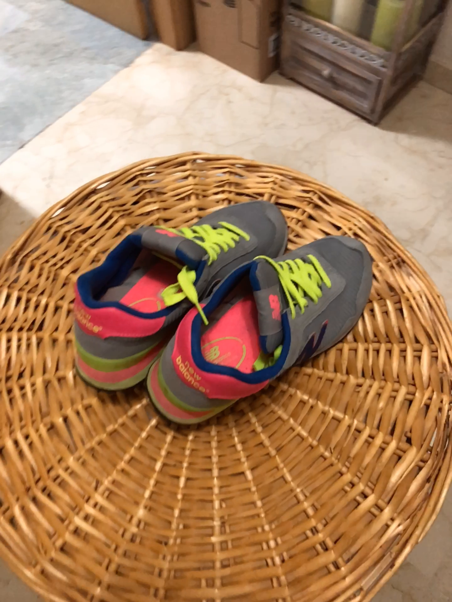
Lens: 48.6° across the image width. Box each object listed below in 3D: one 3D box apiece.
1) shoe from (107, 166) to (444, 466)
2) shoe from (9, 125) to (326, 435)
[{"bbox_3d":[0.044,0.014,0.441,0.260,0.110,0.100,-36,70,-14],"label":"shoe"},{"bbox_3d":[-0.038,-0.023,0.475,0.100,0.110,0.280,39,71,22],"label":"shoe"}]
